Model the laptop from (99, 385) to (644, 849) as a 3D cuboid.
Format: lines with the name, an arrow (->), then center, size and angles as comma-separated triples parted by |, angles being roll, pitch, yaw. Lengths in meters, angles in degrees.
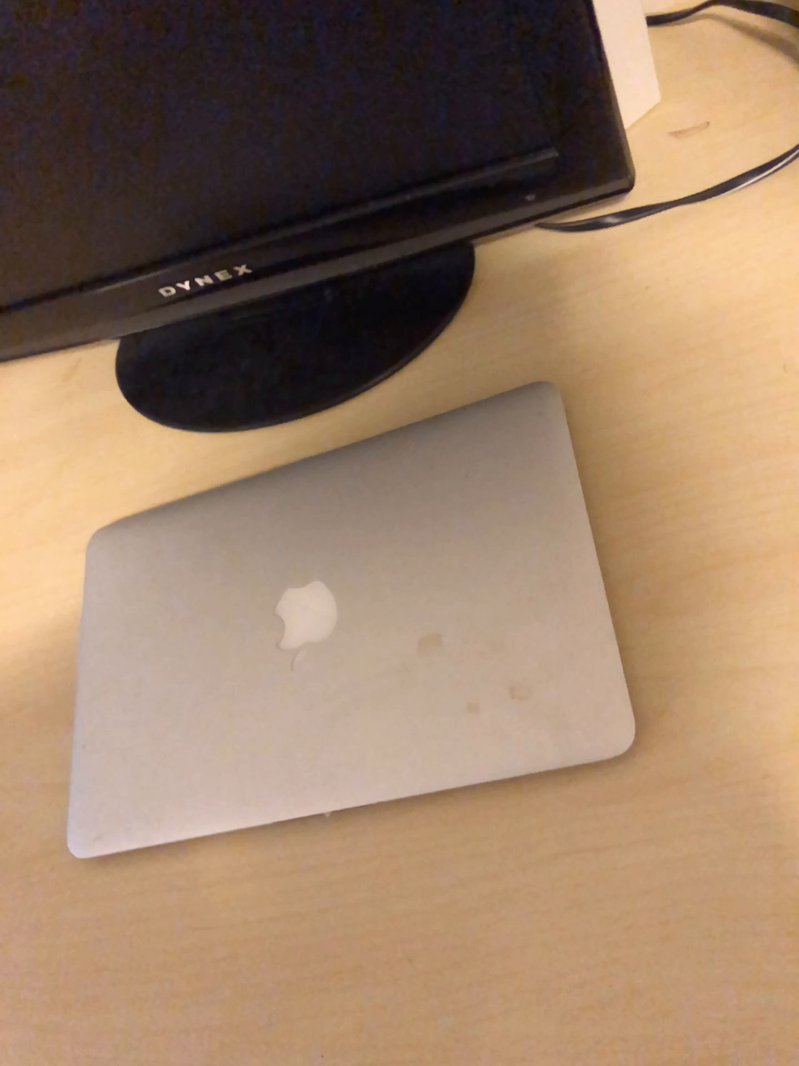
laptop -> -0.035, 0.044, 0.450 | 0.278, 0.005, 0.181 | -16, 62, 18
